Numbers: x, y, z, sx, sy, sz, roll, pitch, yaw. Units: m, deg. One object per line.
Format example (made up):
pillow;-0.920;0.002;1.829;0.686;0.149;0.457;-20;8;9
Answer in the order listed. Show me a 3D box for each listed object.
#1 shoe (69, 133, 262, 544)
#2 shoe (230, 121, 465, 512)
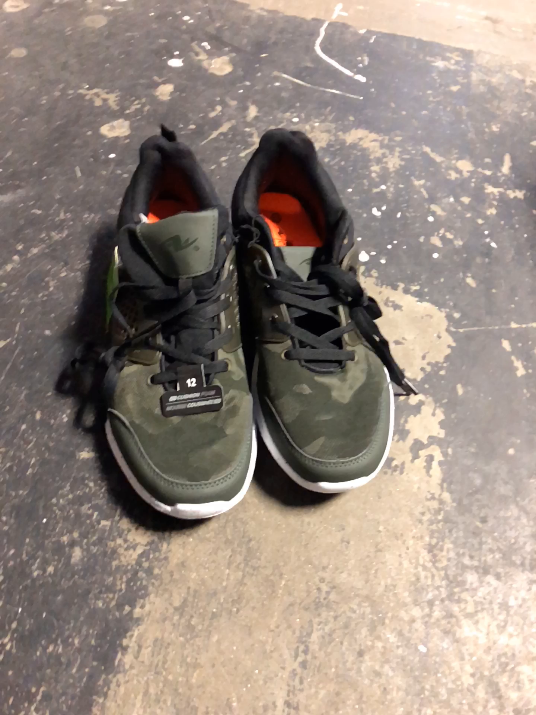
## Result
shoe;-0.080;-0.026;0.467;0.110;0.119;0.302;-4;60;-7
shoe;0.038;-0.038;0.457;0.110;0.129;0.272;-4;60;-7
